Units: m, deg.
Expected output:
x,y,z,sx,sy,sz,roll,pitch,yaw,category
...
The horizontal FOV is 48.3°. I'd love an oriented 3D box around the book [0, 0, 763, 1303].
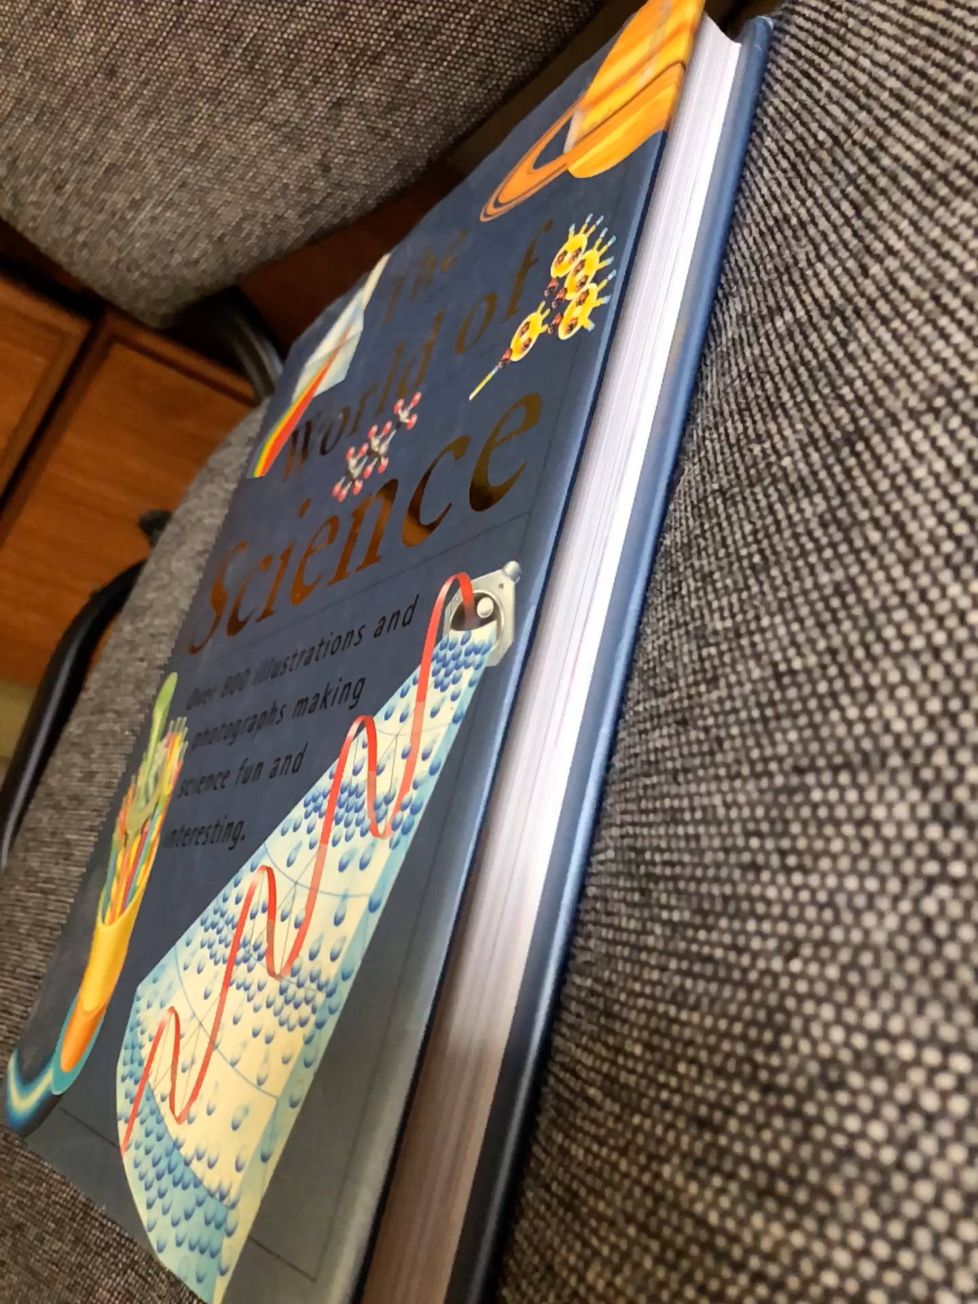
x,y,z,sx,sy,sz,roll,pitch,yaw,category
-0.042,-0.005,0.280,0.221,0.030,0.276,-19,51,53,book
